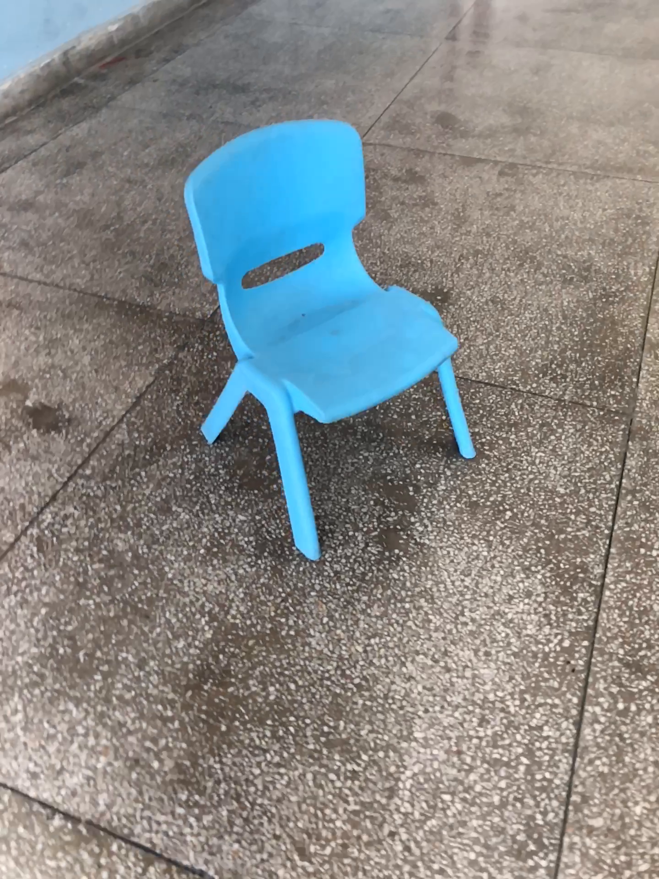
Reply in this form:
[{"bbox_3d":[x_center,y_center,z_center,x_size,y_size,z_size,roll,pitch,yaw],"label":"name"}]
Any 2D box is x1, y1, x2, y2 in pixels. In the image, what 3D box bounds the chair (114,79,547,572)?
[{"bbox_3d":[-0.003,-0.174,1.079,0.380,0.498,0.391,-30,51,-24],"label":"chair"}]
